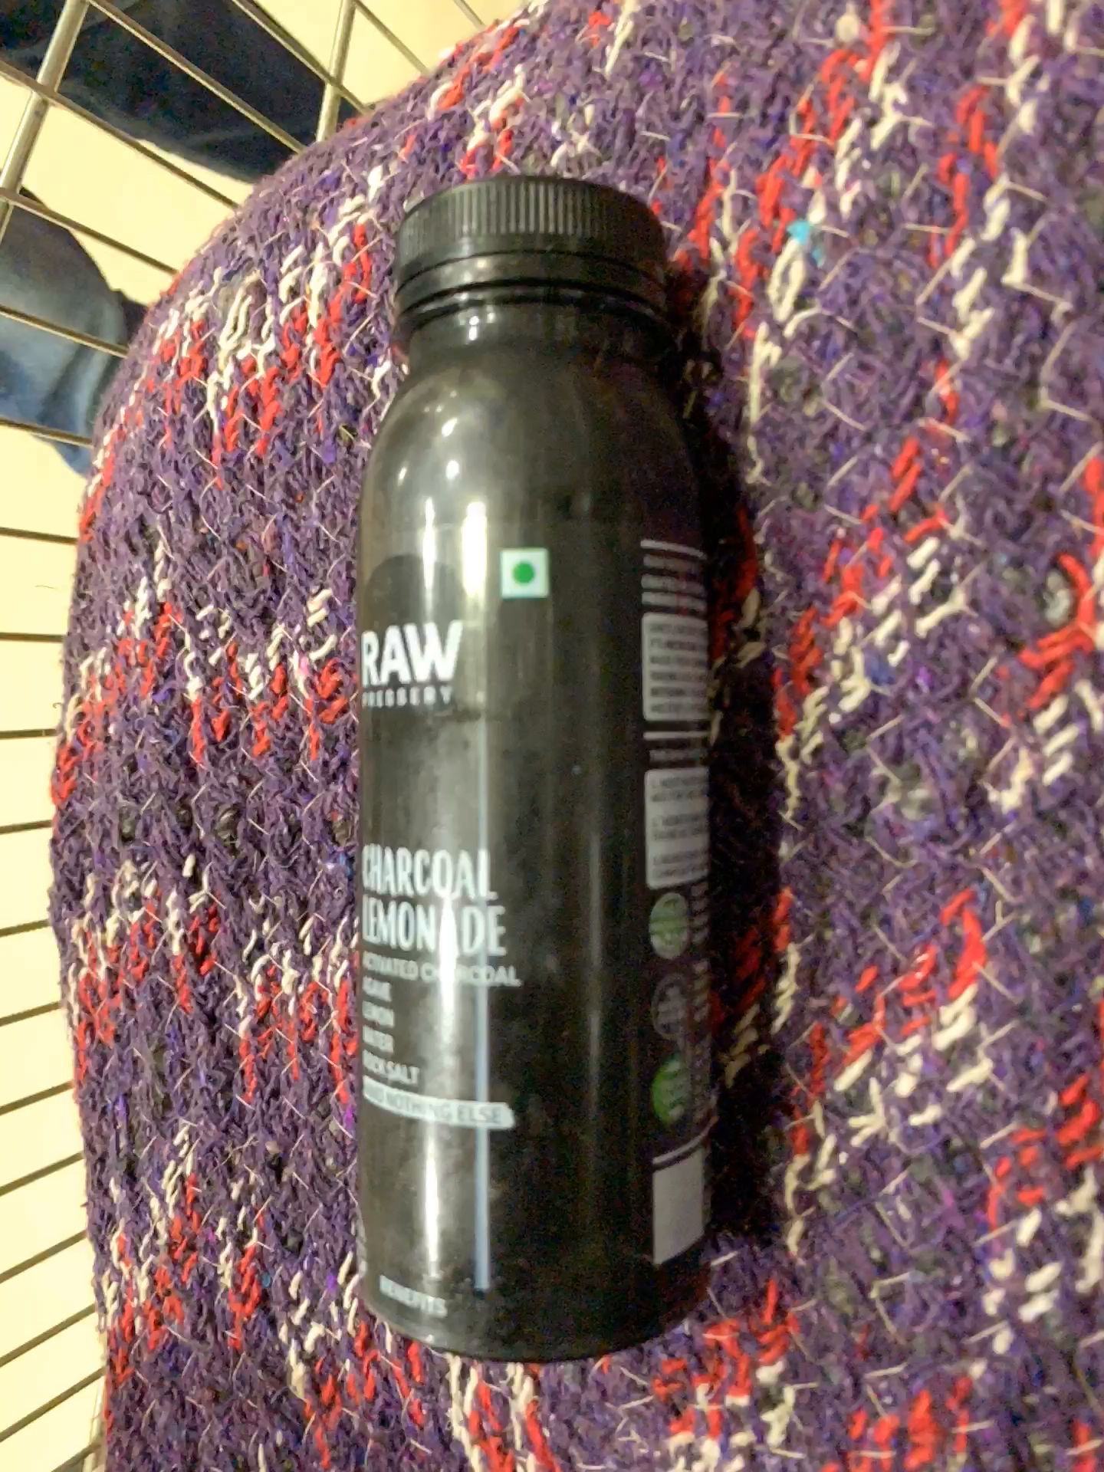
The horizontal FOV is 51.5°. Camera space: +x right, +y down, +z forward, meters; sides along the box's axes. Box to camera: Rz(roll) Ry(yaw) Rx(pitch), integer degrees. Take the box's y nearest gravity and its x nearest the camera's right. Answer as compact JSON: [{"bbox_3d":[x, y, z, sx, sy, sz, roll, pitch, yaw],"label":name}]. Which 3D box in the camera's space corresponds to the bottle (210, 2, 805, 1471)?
[{"bbox_3d":[-0.004,0.004,0.157,0.060,0.050,0.160,1,94,35],"label":"bottle"}]
